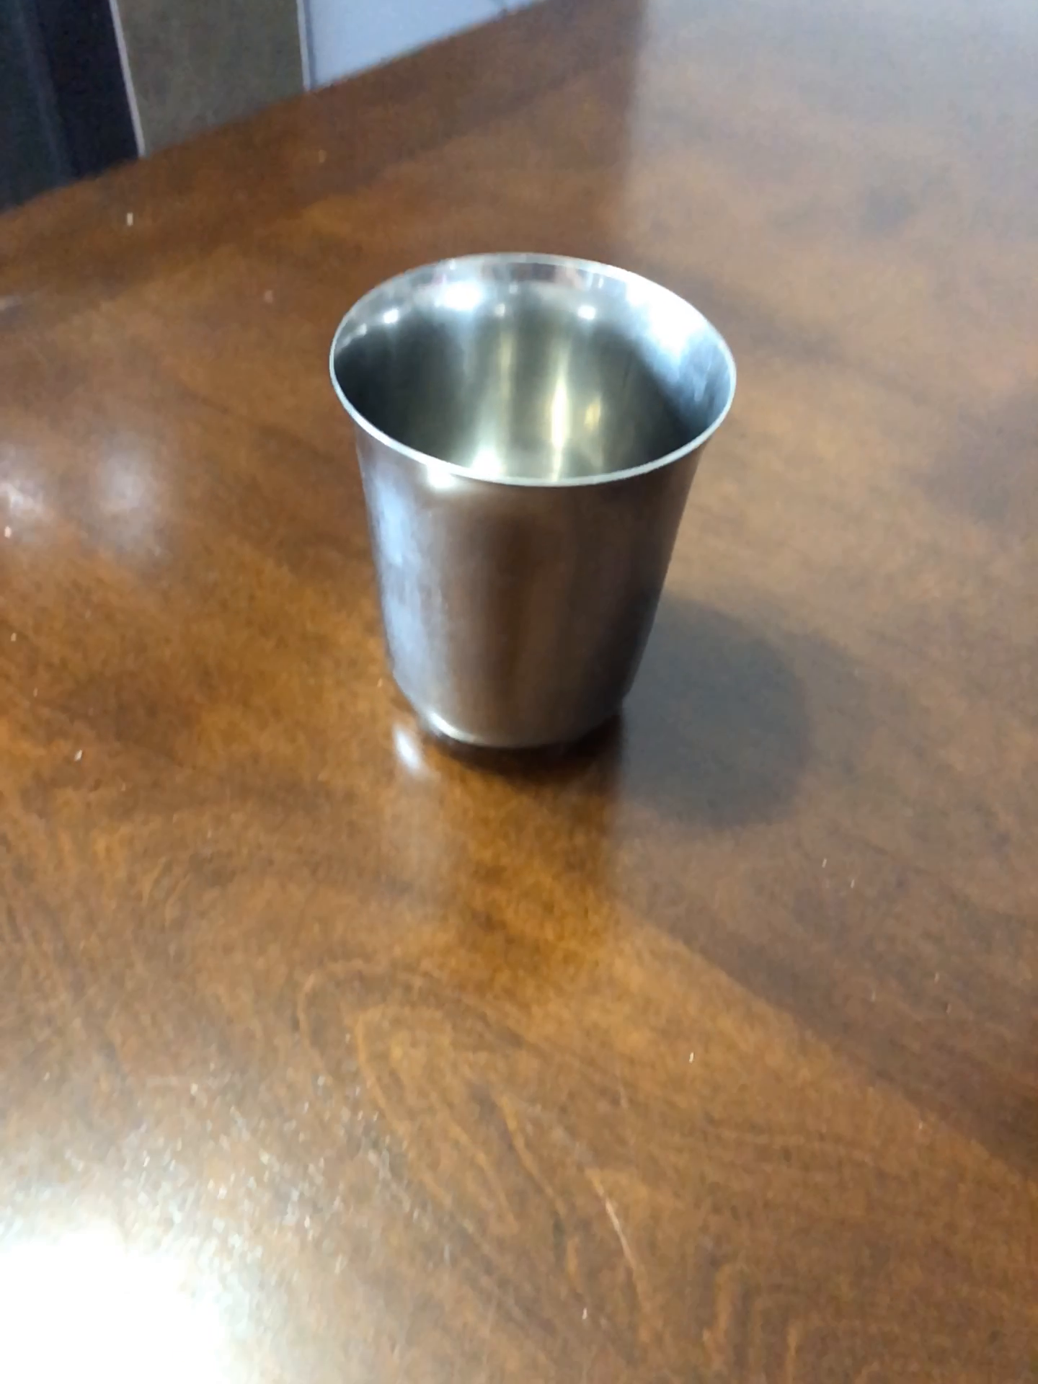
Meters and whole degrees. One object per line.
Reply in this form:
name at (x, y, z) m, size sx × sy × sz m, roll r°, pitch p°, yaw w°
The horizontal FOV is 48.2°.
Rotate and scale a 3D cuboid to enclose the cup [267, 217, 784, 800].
cup at (0.003, -0.042, 0.258) m, size 0.080 × 0.080 × 0.080 m, roll 2°, pitch 47°, yaw -2°
